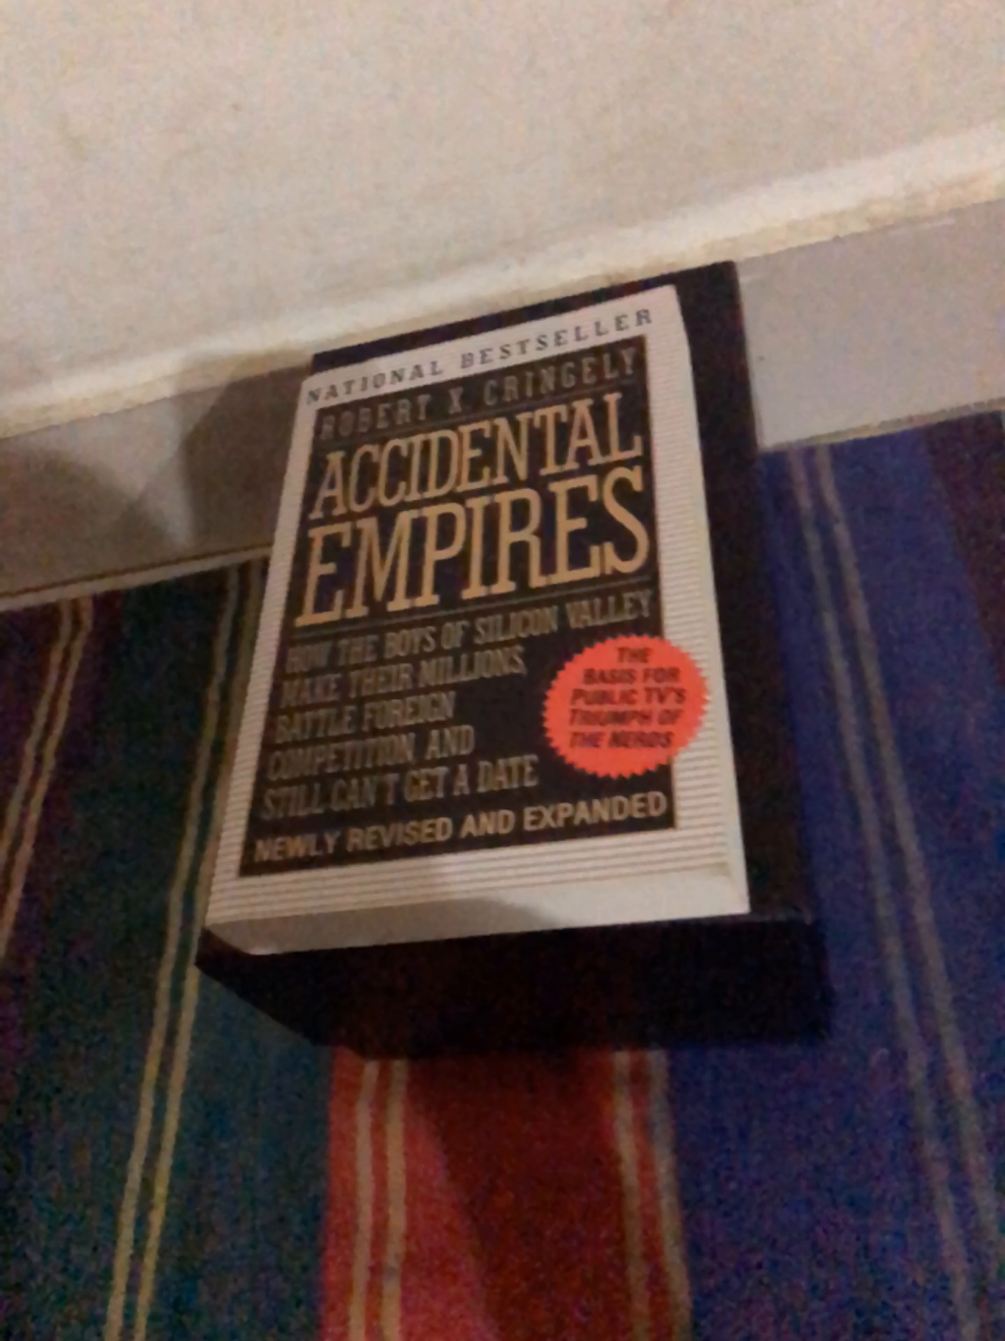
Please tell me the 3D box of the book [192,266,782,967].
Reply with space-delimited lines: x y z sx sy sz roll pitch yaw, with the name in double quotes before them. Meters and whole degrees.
"book" -0.001 -0.022 0.312 0.130 0.040 0.190 -8 54 14
